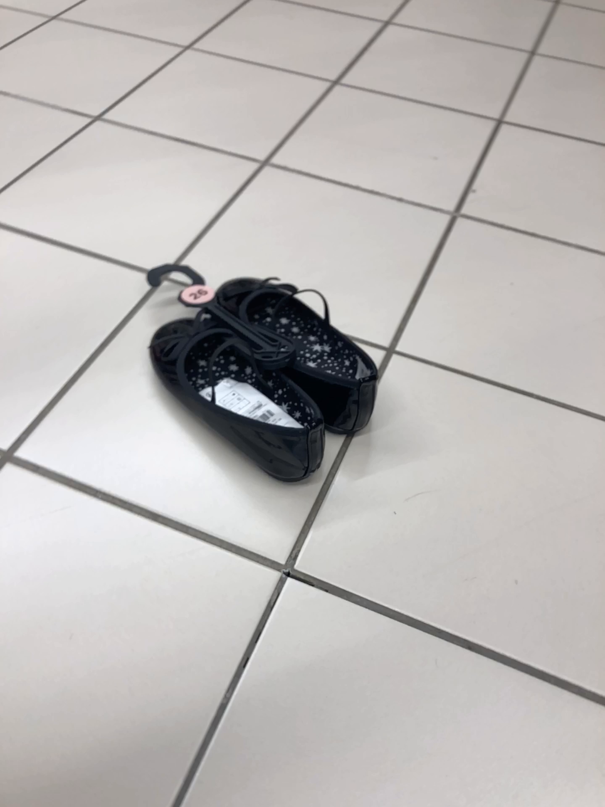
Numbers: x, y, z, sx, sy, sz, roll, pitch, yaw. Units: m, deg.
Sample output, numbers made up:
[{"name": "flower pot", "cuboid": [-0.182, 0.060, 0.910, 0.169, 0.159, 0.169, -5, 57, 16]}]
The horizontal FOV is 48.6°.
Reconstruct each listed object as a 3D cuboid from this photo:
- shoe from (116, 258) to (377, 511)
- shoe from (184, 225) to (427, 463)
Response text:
[{"name": "shoe", "cuboid": [-0.041, -0.019, 0.451, 0.075, 0.055, 0.171, -34, 59, -28]}, {"name": "shoe", "cuboid": [-0.004, -0.049, 0.481, 0.073, 0.059, 0.174, -31, 58, -26]}]
